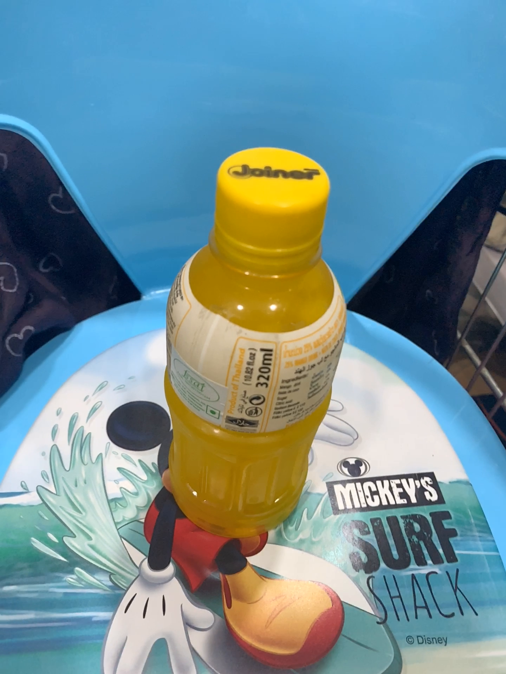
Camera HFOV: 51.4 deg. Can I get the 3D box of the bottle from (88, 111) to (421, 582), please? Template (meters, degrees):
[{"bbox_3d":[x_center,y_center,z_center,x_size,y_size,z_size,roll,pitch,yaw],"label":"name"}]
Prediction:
[{"bbox_3d":[-0.001,0.011,0.177,0.060,0.139,0.060,2,43,-2],"label":"bottle"}]
